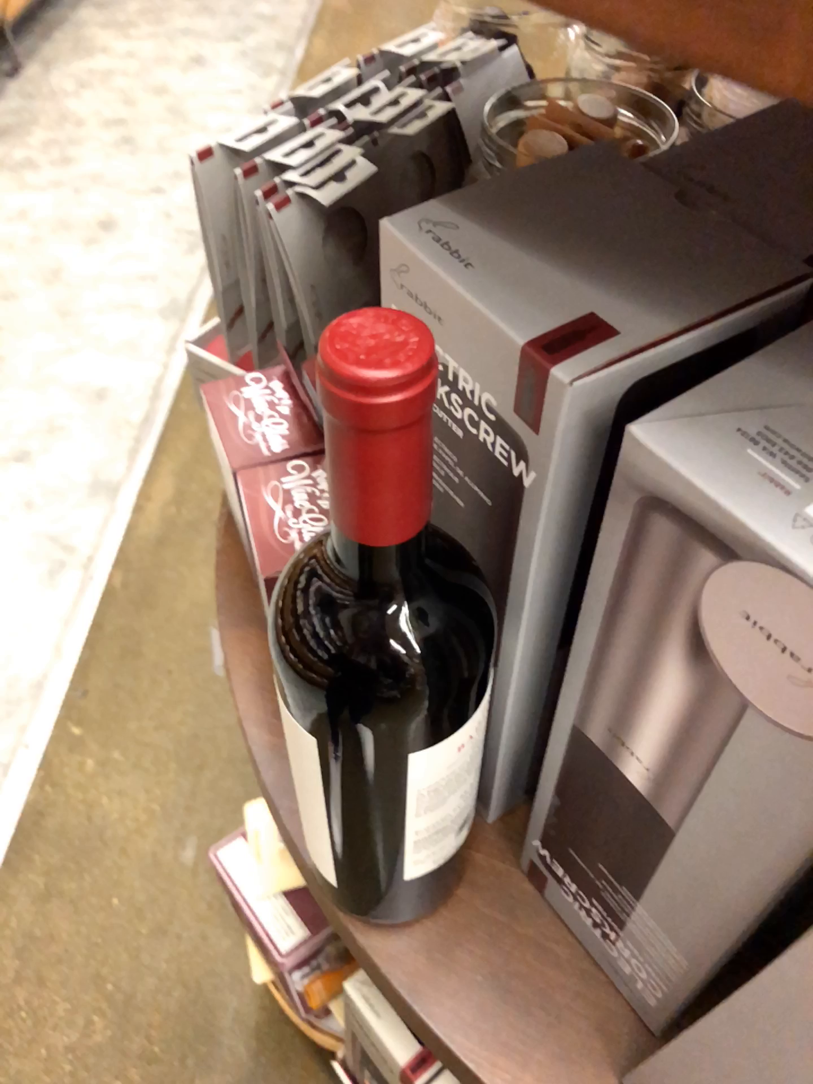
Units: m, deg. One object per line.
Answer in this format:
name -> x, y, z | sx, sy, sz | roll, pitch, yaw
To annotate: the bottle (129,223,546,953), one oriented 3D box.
bottle -> -0.010, 0.046, 0.313 | 0.072, 0.285, 0.076 | -1, 48, 1
